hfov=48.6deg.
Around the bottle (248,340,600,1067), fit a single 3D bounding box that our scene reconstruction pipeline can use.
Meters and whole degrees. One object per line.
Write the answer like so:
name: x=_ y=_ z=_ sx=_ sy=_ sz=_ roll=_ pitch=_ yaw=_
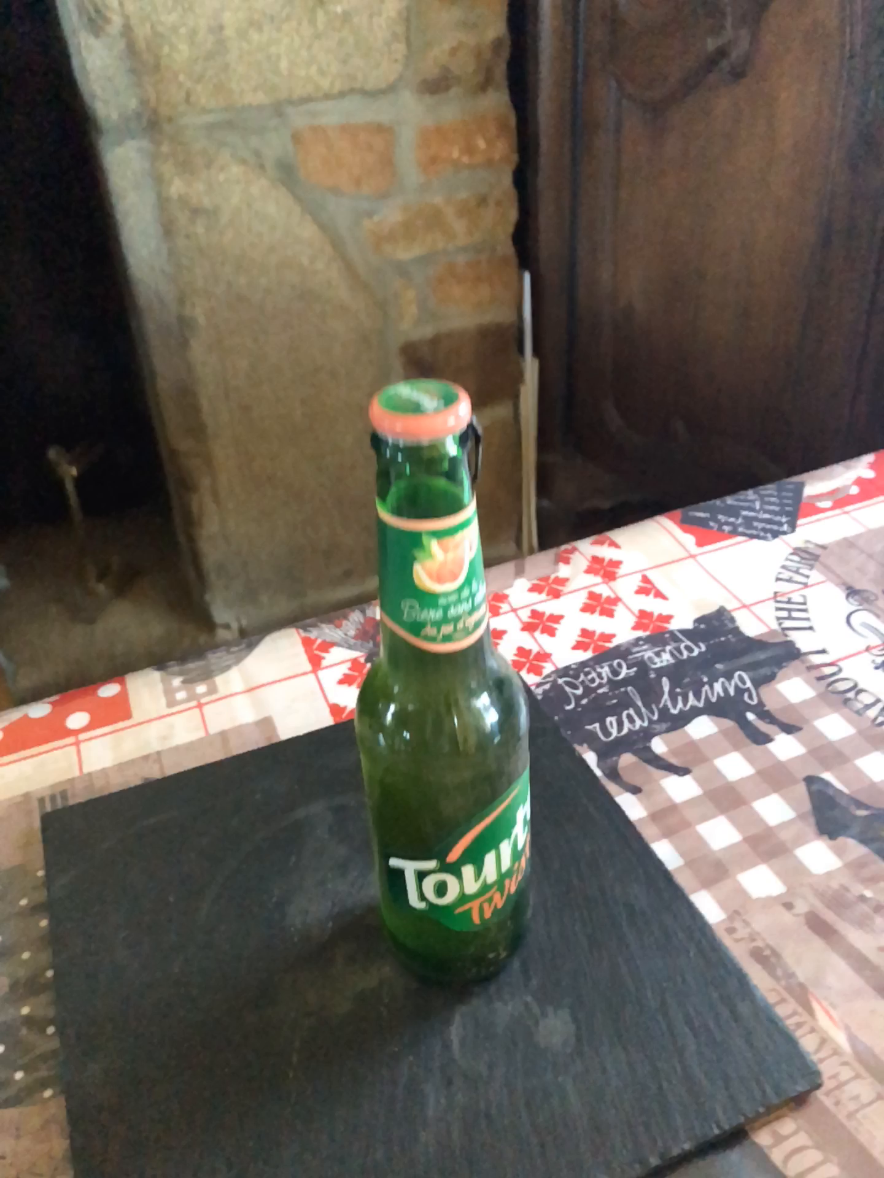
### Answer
bottle: x=0.000 y=0.047 z=0.317 sx=0.070 sy=0.228 sz=0.060 roll=-23 pitch=38 yaw=-27
